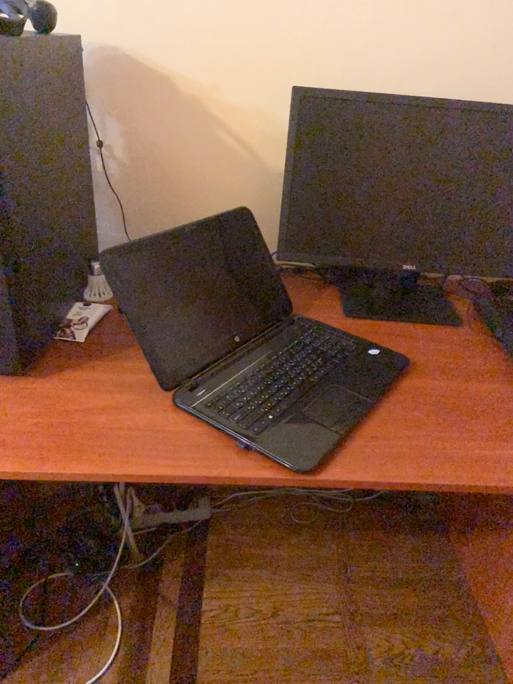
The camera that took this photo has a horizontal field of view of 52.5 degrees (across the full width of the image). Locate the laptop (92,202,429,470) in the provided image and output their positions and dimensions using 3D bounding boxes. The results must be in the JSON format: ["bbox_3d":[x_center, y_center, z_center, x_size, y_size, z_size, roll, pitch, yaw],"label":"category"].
[{"bbox_3d":[0.013,-0.050,0.785,0.358,0.168,0.333,25,35,27],"label":"laptop"}]
